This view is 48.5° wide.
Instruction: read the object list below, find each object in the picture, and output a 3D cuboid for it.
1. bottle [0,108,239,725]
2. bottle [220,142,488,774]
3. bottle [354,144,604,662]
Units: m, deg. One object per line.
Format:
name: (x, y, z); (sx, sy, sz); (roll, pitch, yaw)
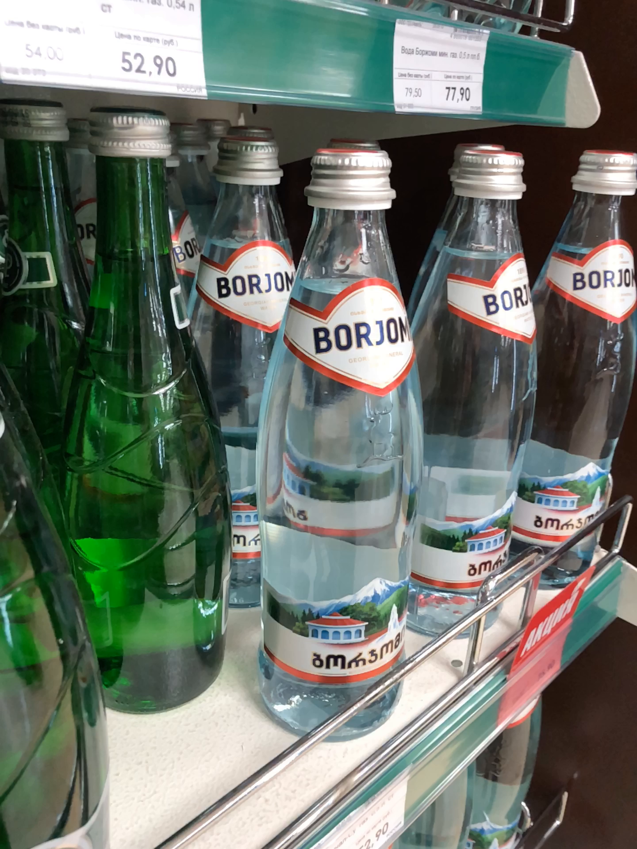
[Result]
bottle: (-0.076, 0.002, 0.291); (0.069, 0.238, 0.065); (2, 21, -1)
bottle: (0.008, 0.015, 0.285); (0.068, 0.236, 0.063); (2, 21, -1)
bottle: (0.071, -0.010, 0.349); (0.069, 0.236, 0.065); (2, 21, -1)
